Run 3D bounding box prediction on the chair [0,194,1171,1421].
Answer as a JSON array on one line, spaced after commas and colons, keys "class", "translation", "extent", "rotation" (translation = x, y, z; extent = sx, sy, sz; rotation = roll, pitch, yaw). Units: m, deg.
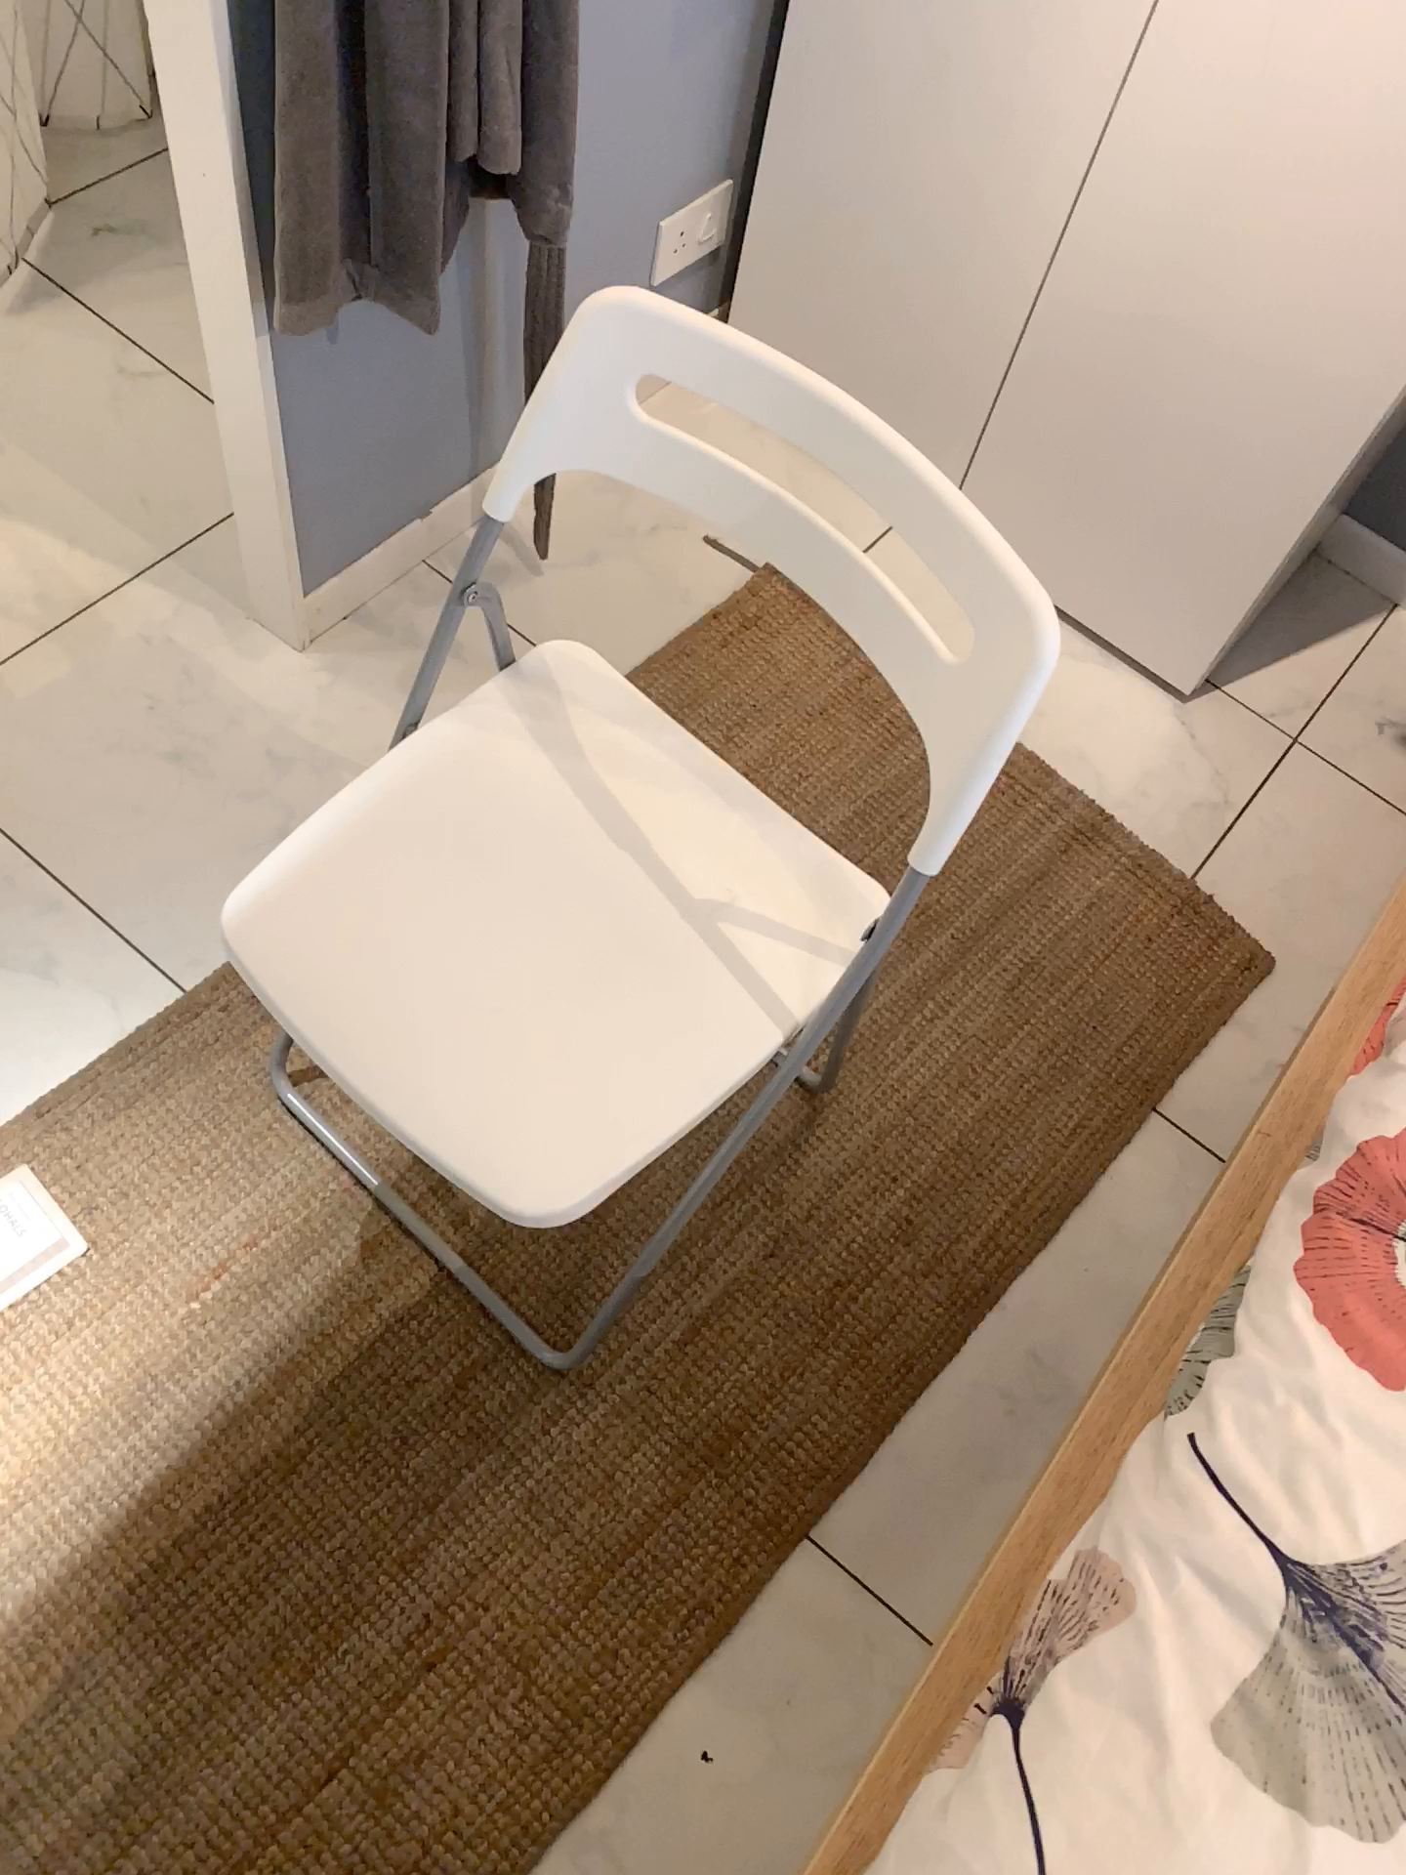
[{"class": "chair", "translation": [-0.096, -0.038, 1.035], "extent": [0.450, 0.659, 0.431], "rotation": [42, 62, 14]}]
